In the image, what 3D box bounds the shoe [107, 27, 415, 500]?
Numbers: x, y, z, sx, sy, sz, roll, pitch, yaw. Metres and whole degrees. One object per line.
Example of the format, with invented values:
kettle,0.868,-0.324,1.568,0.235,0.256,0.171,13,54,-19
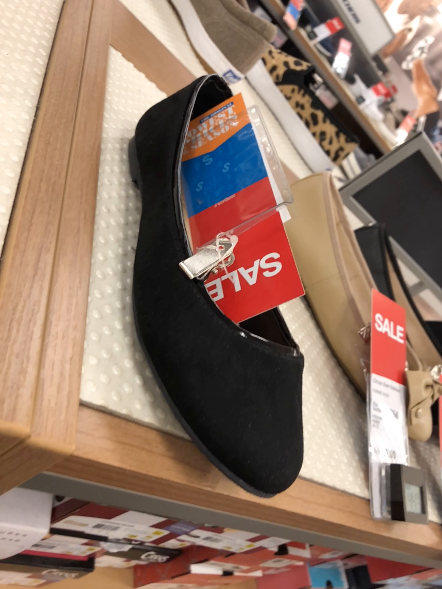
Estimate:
shoe,0.006,-0.026,0.262,0.091,0.064,0.238,26,39,-43
